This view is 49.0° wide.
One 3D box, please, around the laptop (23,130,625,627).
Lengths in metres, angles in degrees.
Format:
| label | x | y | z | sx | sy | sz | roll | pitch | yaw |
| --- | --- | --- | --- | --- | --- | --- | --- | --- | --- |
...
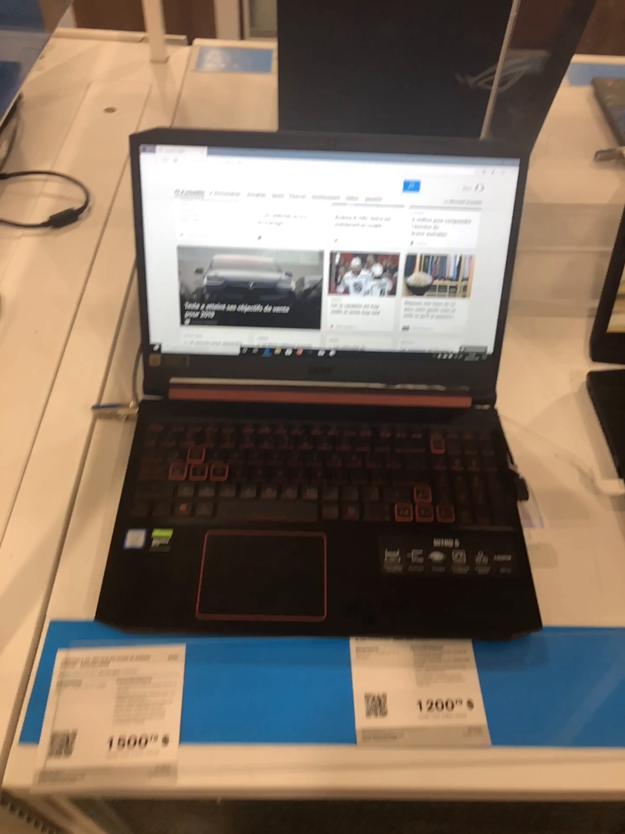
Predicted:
| label | x | y | z | sx | sy | sz | roll | pitch | yaw |
| --- | --- | --- | --- | --- | --- | --- | --- | --- | --- |
| laptop | 0.013 | -0.042 | 0.583 | 0.357 | 0.211 | 0.360 | 1 | 52 | -2 |
